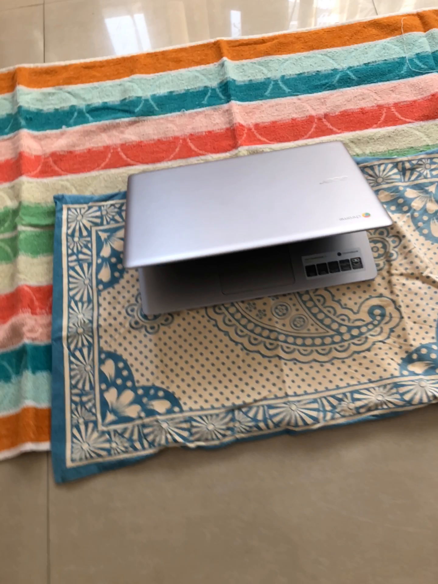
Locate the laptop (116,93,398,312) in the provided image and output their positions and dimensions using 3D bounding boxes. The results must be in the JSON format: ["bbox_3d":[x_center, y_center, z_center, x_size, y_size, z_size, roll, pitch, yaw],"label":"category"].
[{"bbox_3d":[0.041,-0.119,0.663,0.319,0.105,0.222,-9,71,0],"label":"laptop"}]
